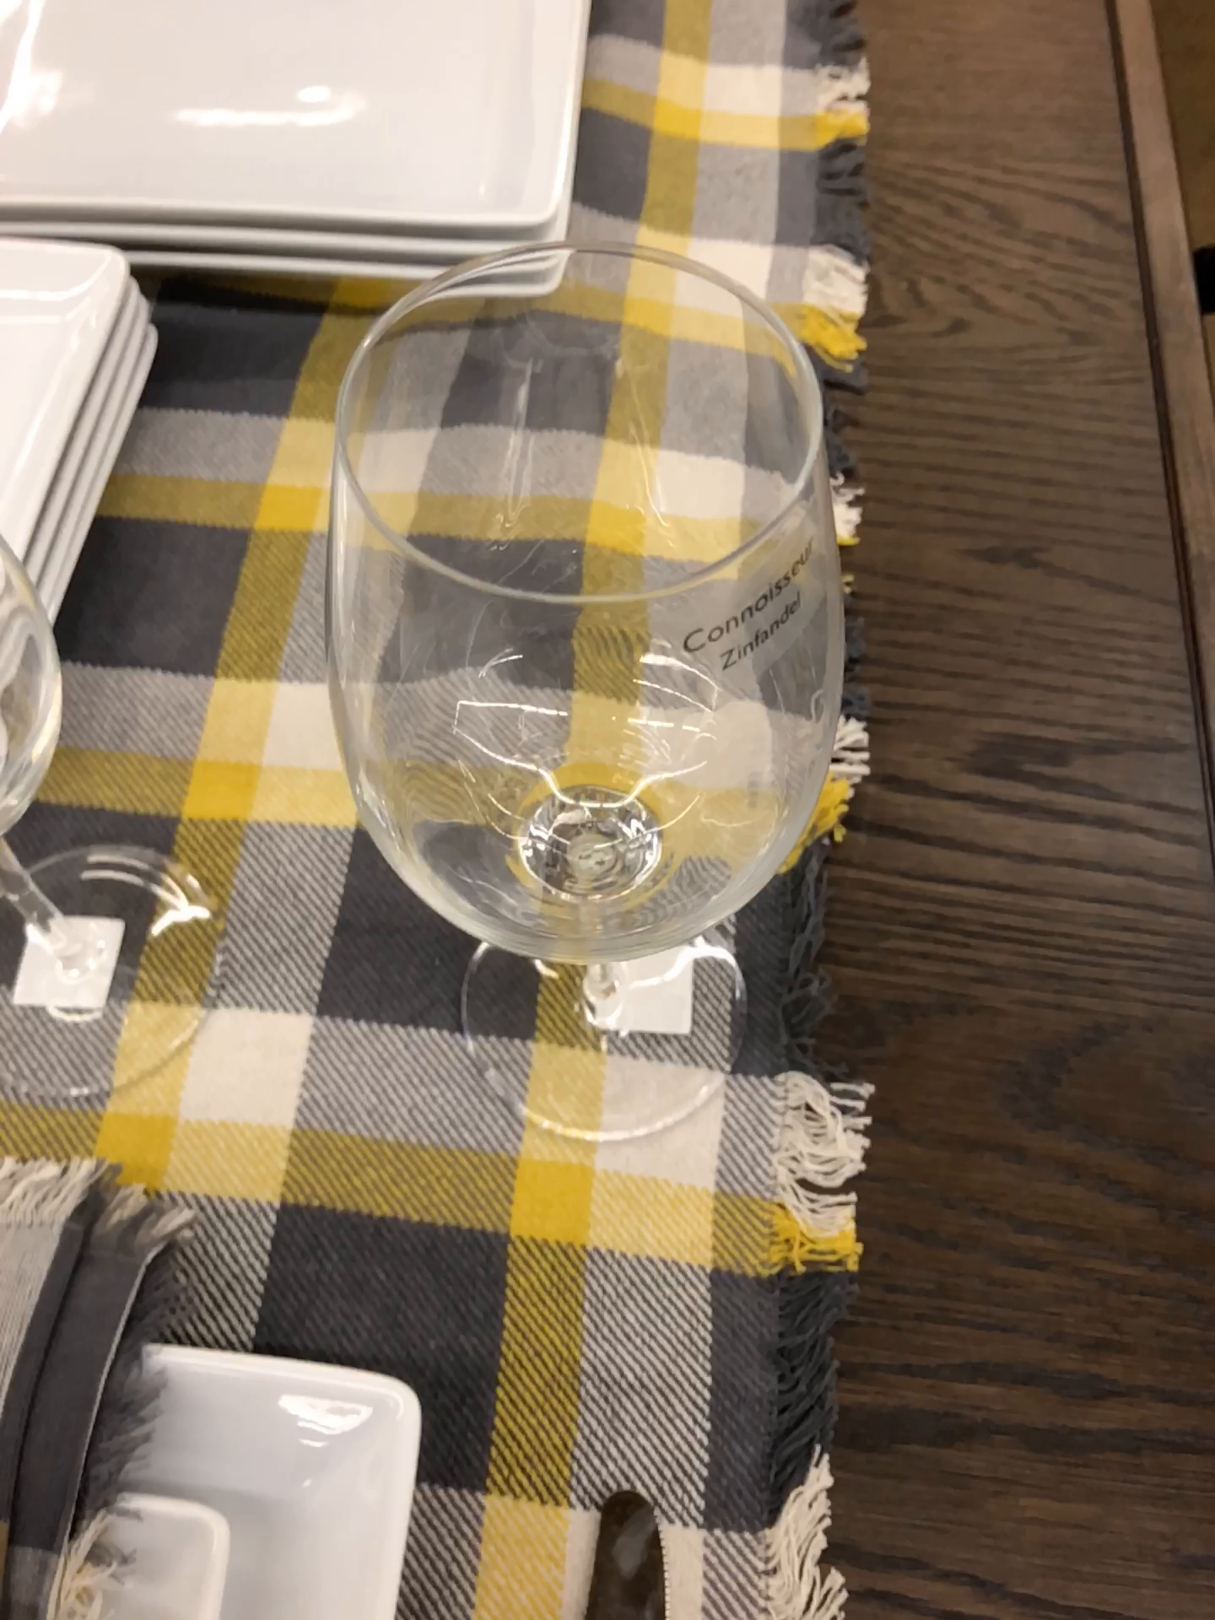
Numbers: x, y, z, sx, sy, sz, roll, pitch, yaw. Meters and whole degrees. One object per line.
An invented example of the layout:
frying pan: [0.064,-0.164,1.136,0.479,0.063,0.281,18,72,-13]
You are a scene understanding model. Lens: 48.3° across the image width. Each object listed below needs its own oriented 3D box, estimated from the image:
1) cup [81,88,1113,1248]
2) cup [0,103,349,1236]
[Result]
cup: [-0.002,-0.006,0.258,0.092,0.192,0.096,0,60,0]
cup: [-0.133,-0.006,0.265,0.092,0.193,0.096,0,60,0]
